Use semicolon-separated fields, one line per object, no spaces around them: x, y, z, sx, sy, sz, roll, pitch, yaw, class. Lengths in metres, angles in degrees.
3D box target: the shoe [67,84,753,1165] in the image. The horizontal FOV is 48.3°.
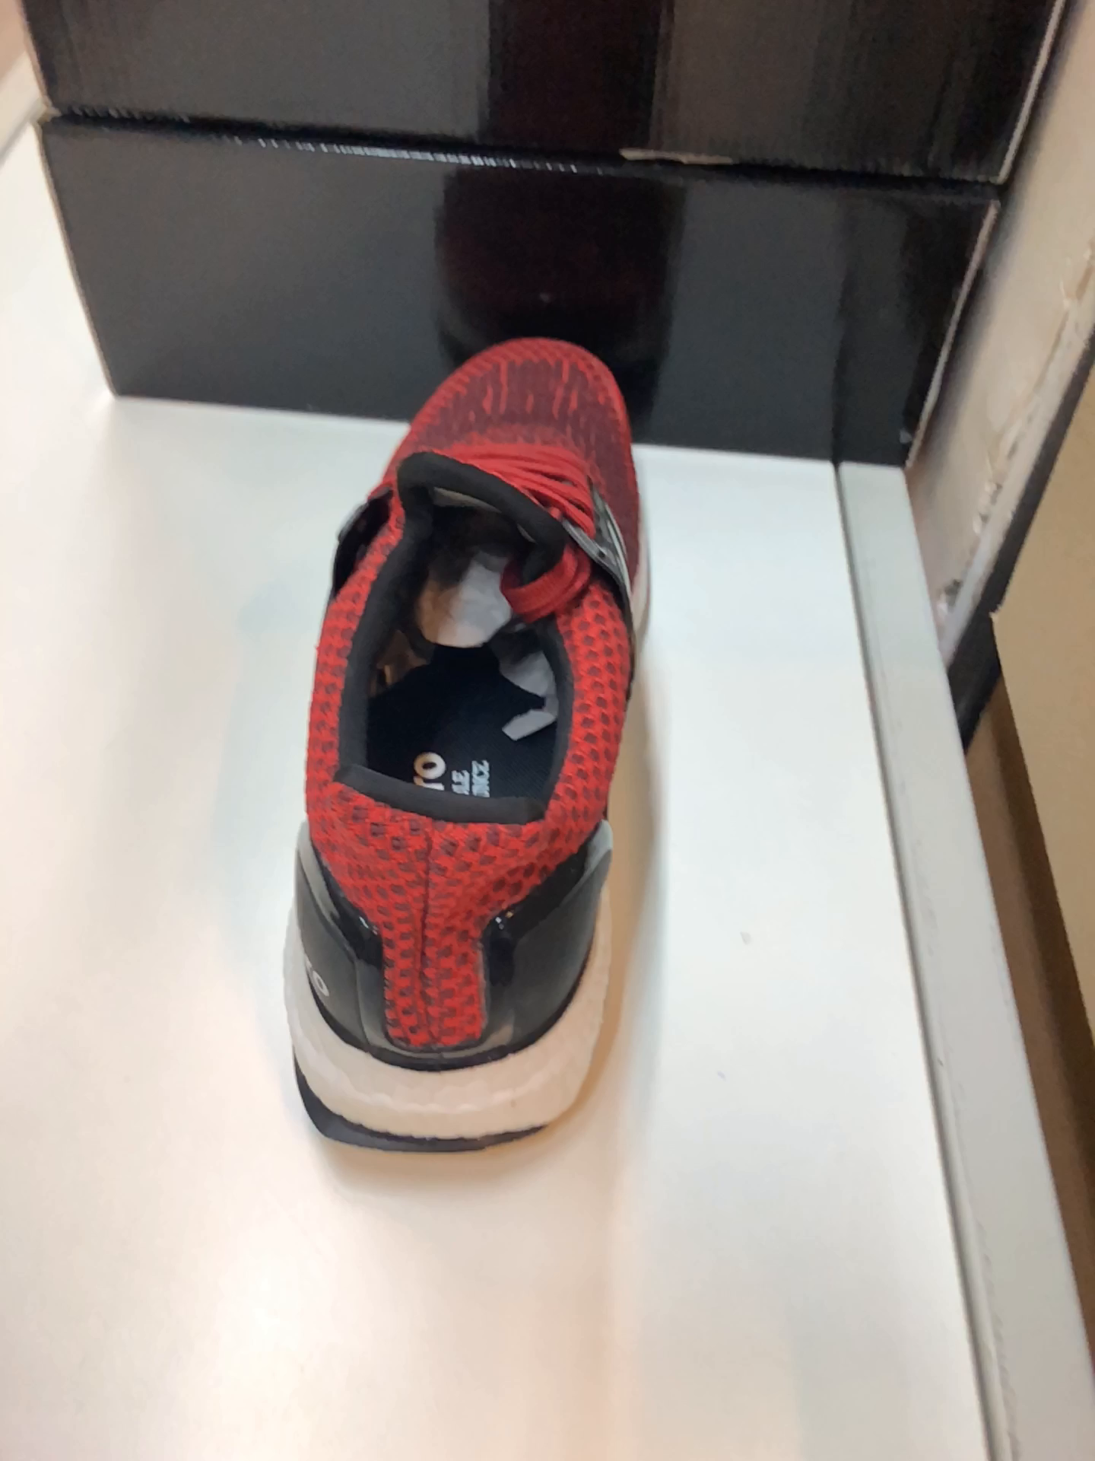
-0.017;-0.049;0.328;0.111;0.108;0.288;4;52;0;shoe
